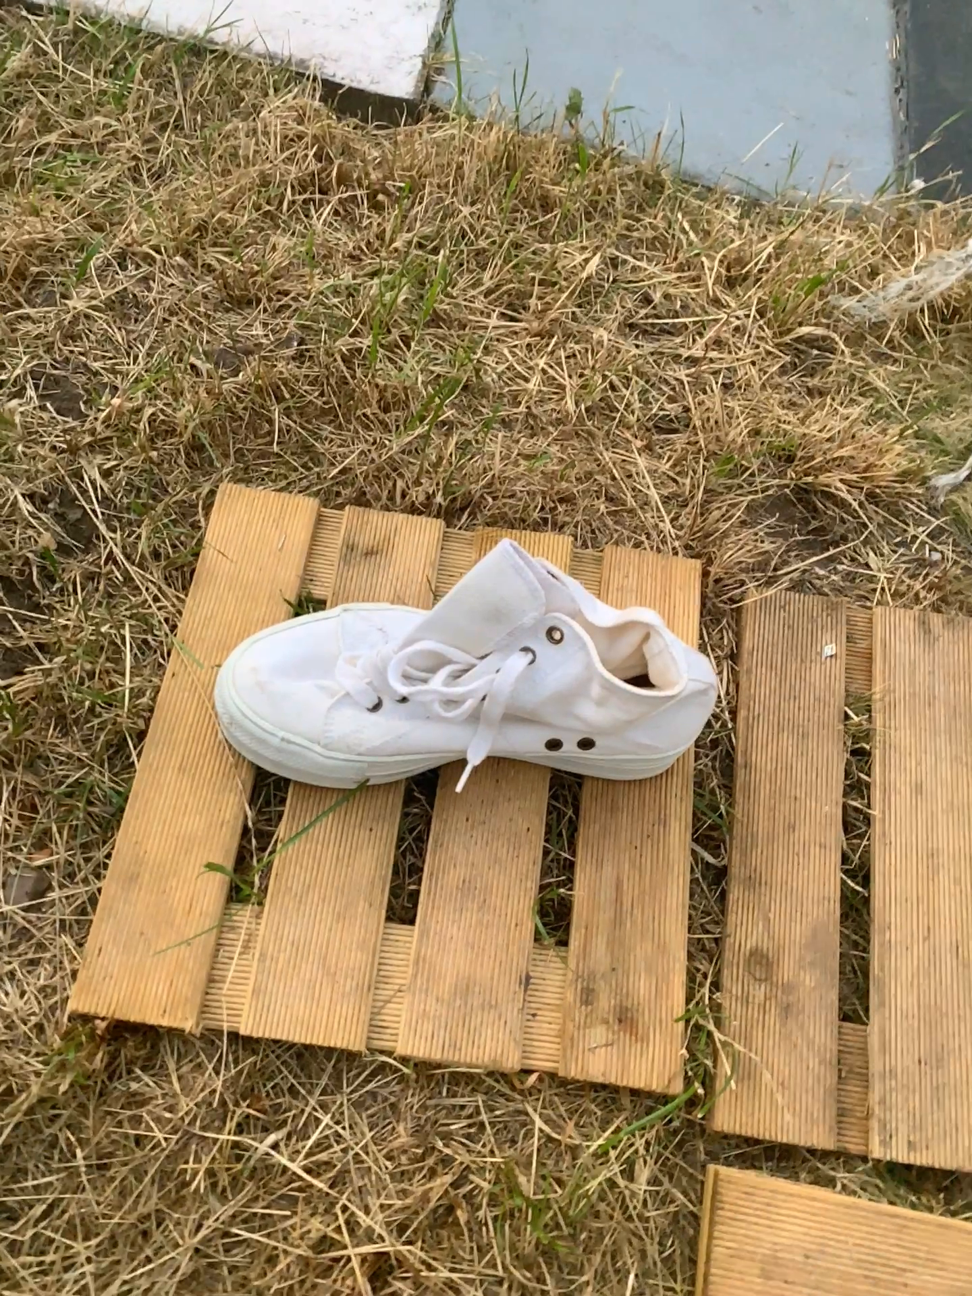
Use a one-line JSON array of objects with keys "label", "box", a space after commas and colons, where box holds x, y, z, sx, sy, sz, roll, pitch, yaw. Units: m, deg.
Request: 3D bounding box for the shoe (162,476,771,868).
[{"label": "shoe", "box": [-0.010, 0.022, 0.497, 0.260, 0.129, 0.101, 13, 65, -6]}]
